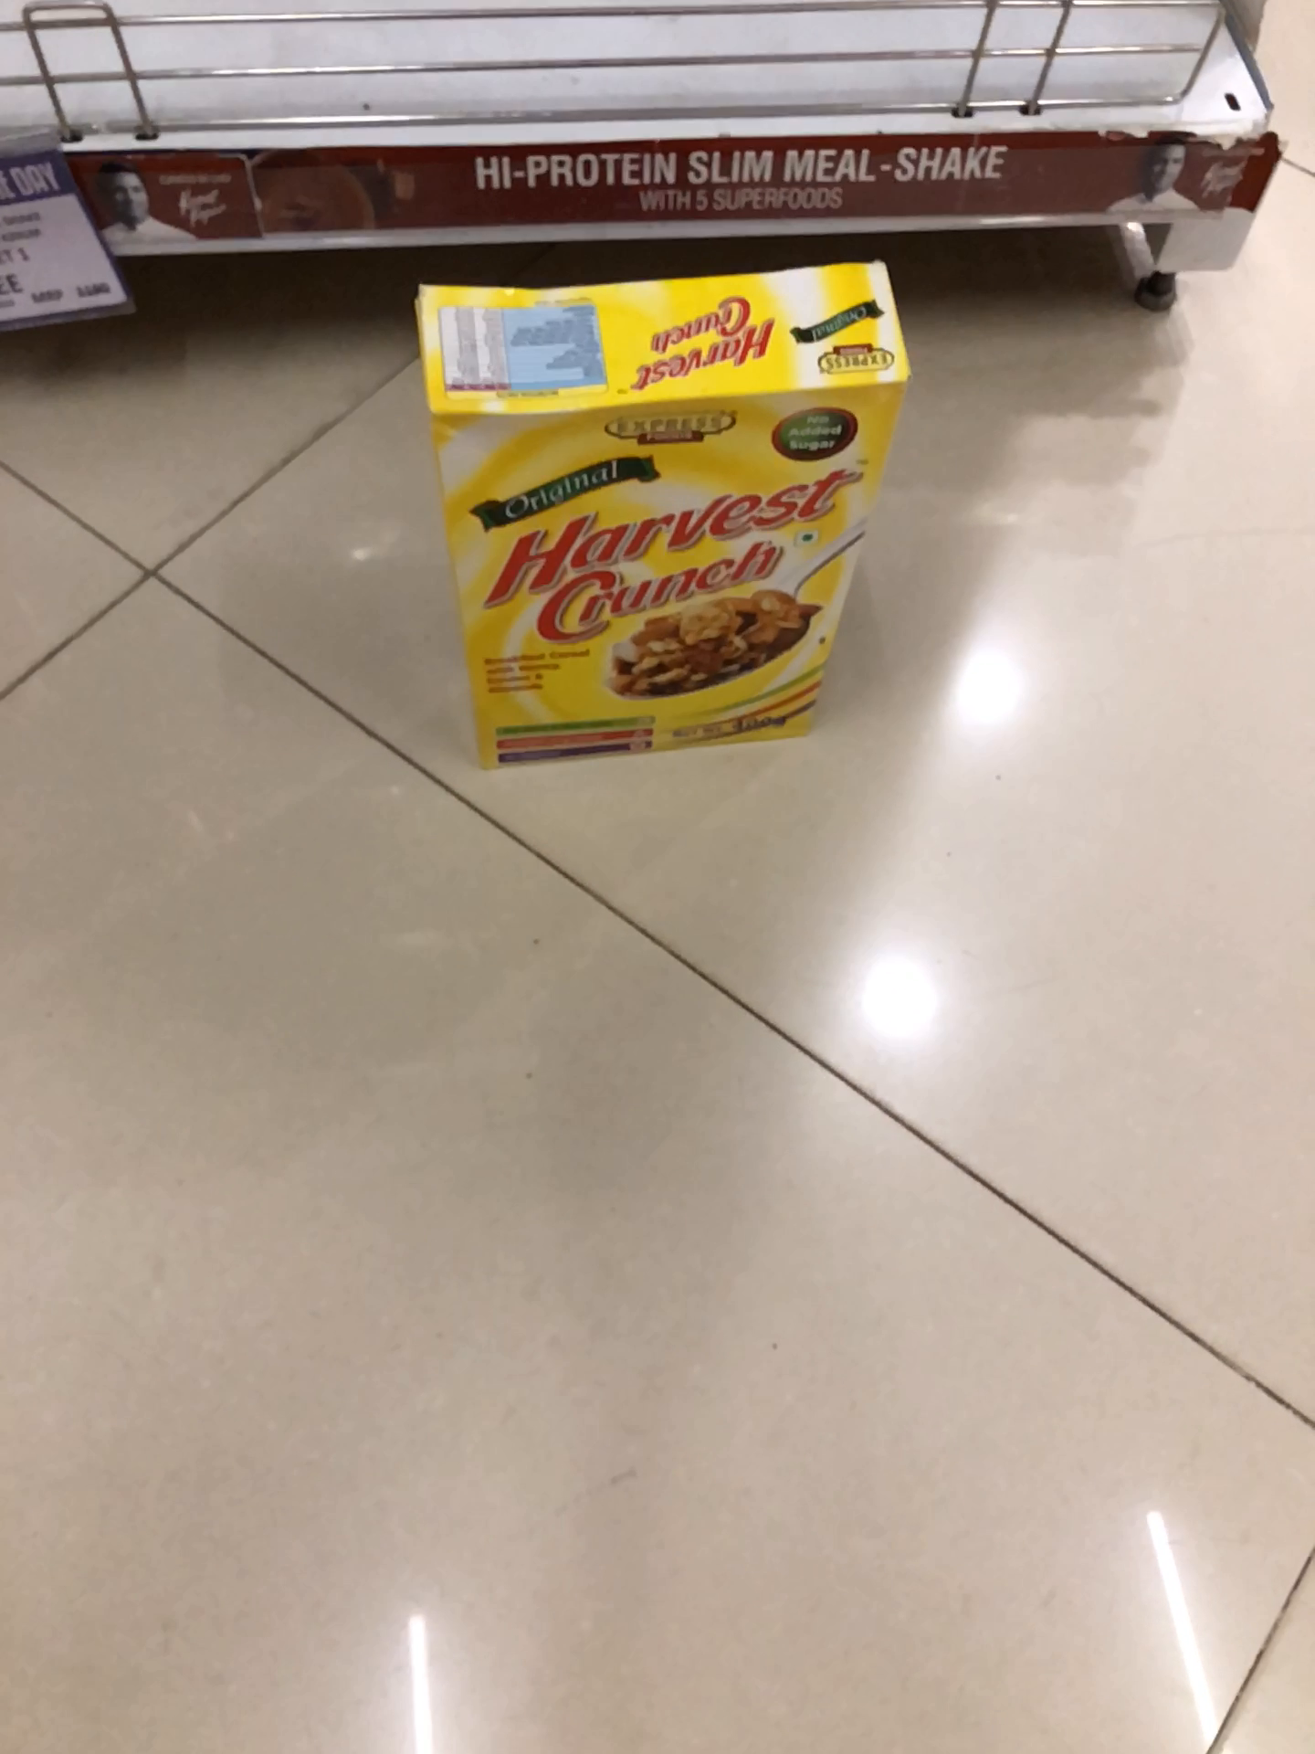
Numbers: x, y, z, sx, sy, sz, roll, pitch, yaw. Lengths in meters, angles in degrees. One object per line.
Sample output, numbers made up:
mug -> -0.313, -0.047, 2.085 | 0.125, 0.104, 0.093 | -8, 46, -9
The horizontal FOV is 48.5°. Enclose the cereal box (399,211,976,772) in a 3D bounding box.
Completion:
cereal box -> 0.004, -0.122, 0.512 | 0.160, 0.209, 0.050 | -7, 64, -6
